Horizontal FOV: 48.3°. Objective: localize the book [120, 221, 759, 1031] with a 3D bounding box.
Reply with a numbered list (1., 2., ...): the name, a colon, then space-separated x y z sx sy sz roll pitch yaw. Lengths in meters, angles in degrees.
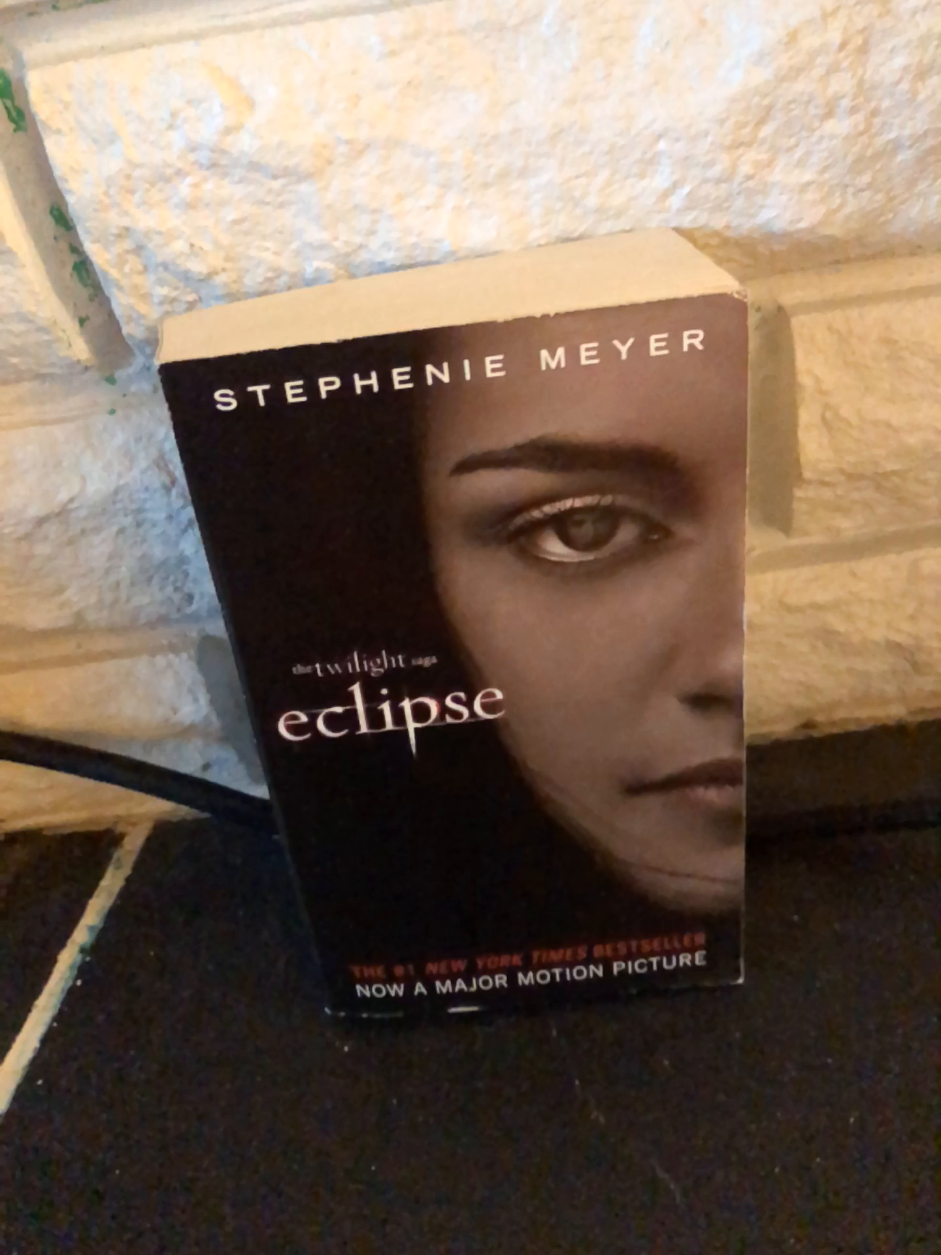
1. book: 0.007 0.014 0.237 0.106 0.181 0.042 -6 33 7
